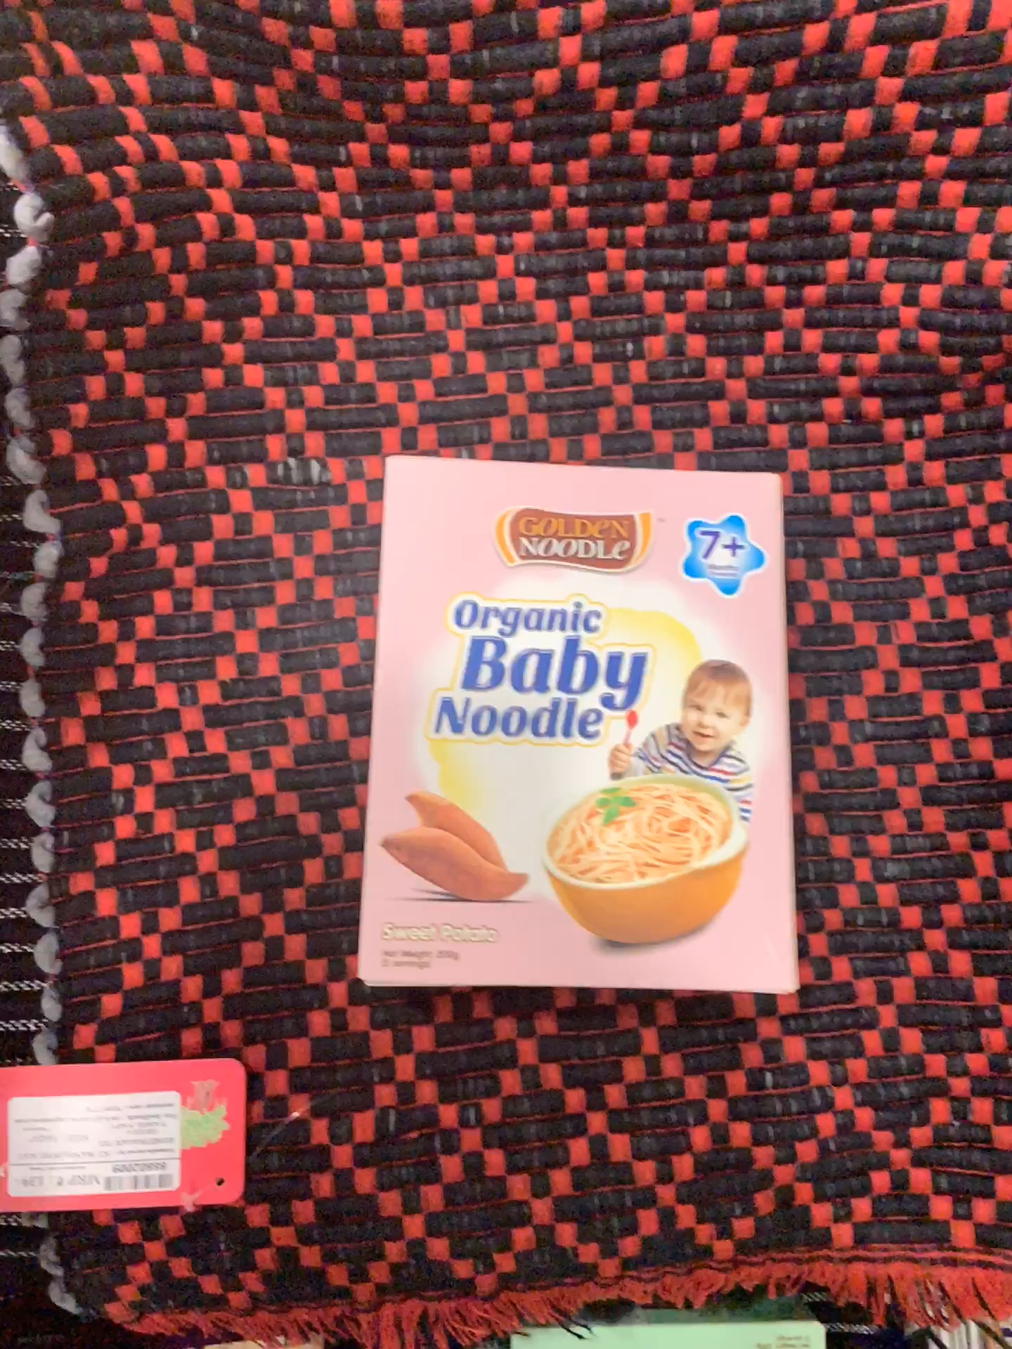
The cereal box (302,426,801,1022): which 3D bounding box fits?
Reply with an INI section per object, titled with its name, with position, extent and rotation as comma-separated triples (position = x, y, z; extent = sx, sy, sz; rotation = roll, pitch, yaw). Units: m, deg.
[cereal box]
position = 0.013, 0.015, 0.311
extent = 0.130, 0.050, 0.160
rotation = 2, 80, -2
